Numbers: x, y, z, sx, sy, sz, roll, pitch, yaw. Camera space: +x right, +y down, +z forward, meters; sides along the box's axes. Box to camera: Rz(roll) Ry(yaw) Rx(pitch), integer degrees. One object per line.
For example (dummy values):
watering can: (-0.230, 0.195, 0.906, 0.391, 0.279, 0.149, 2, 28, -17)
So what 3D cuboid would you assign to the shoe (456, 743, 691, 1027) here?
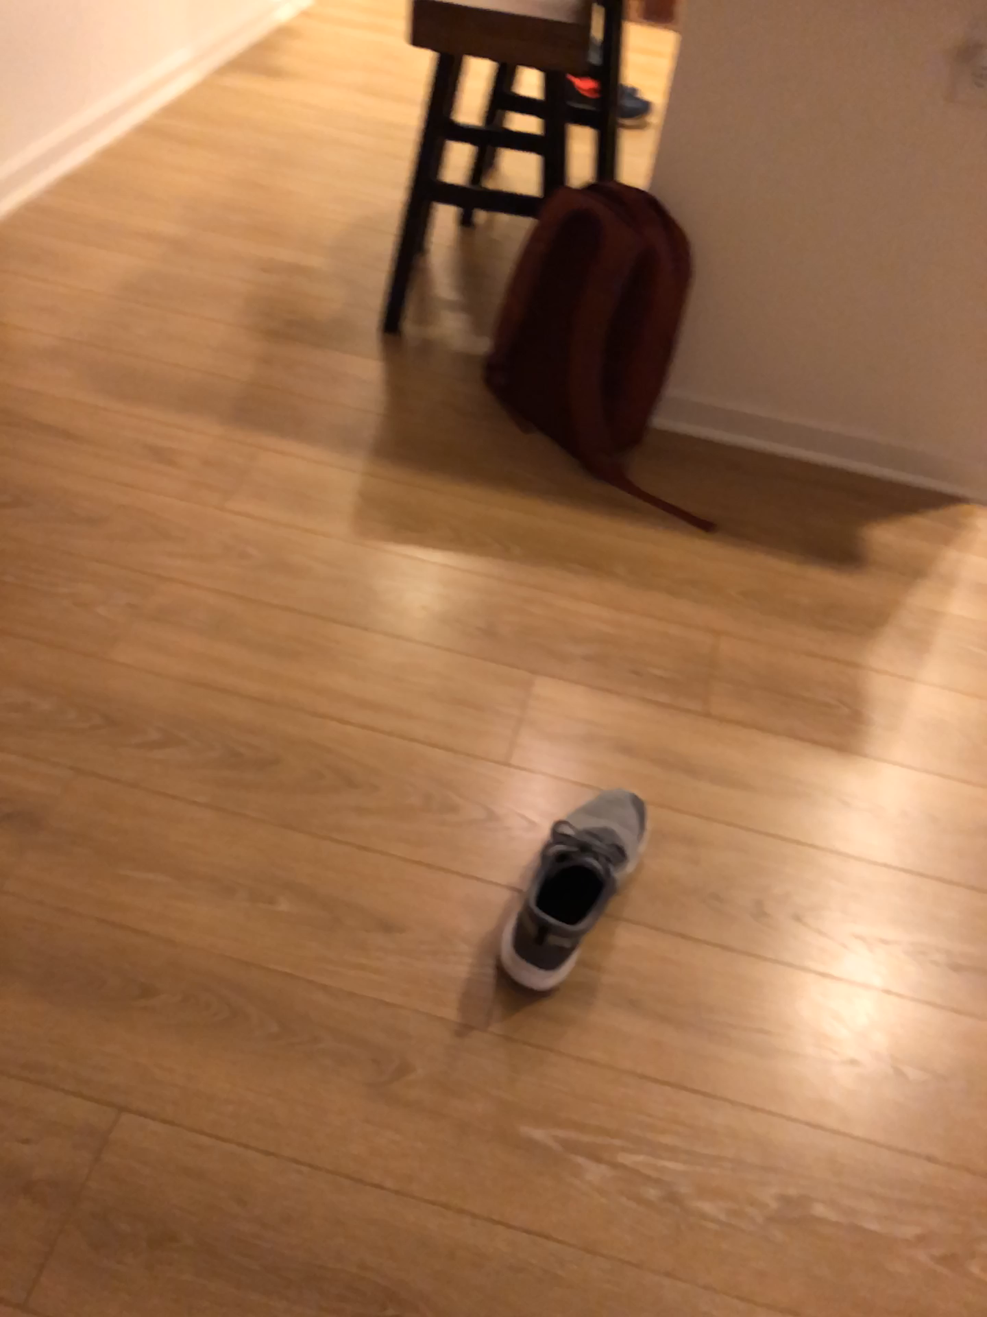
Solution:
shoe: (0.098, 0.252, 1.275, 0.140, 0.090, 0.302, 26, 47, 17)
